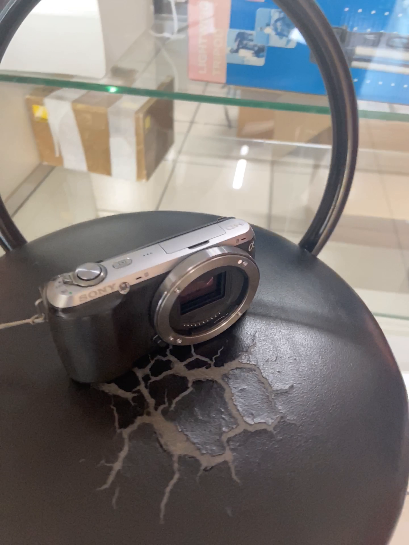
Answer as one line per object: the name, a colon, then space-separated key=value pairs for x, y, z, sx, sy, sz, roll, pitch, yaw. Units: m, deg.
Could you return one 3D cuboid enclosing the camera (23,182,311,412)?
camera: x=-0.013 y=0.007 z=0.205 sx=0.120 sy=0.060 sz=0.040 roll=-22 pitch=47 yaw=-24
